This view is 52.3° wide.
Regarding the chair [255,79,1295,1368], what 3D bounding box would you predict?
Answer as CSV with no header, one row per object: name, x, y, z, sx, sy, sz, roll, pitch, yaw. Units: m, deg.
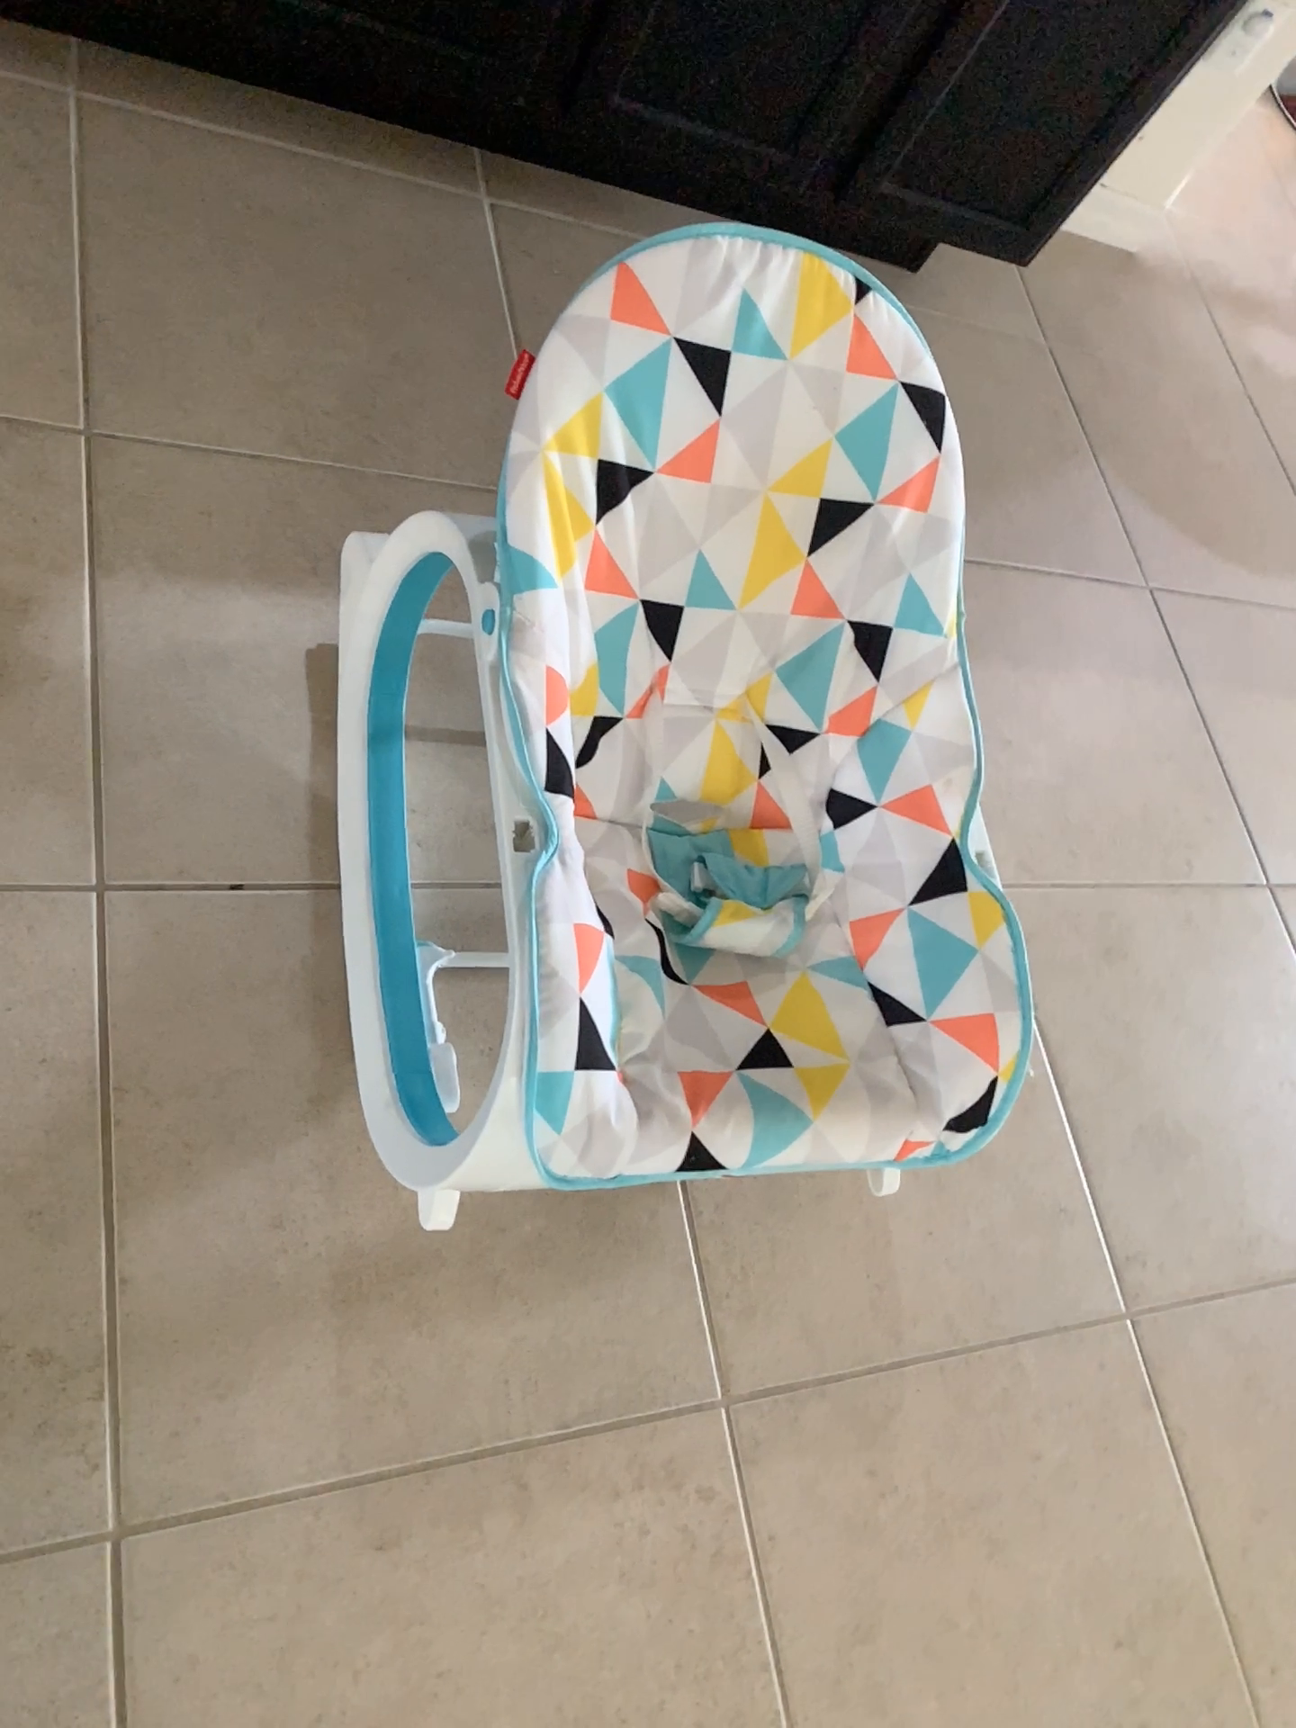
chair,0.037,-0.067,1.023,0.532,0.486,0.733,0,66,-27
